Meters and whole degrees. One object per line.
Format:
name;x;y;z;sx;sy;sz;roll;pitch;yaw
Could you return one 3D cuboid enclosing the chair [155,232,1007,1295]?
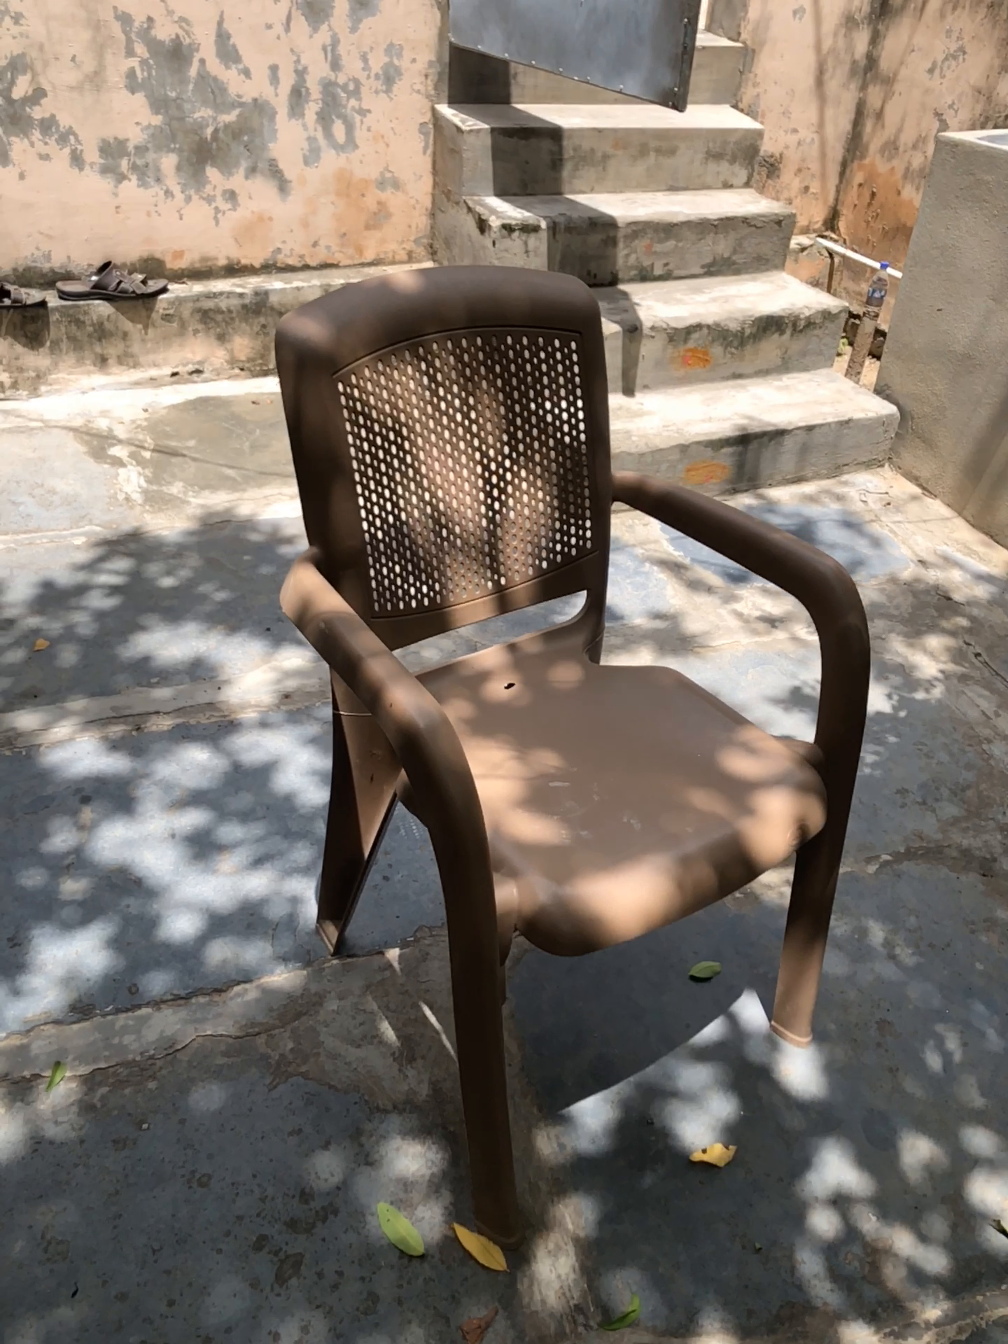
chair;0.075;0.040;1.270;0.632;0.825;0.682;-18;41;-28
